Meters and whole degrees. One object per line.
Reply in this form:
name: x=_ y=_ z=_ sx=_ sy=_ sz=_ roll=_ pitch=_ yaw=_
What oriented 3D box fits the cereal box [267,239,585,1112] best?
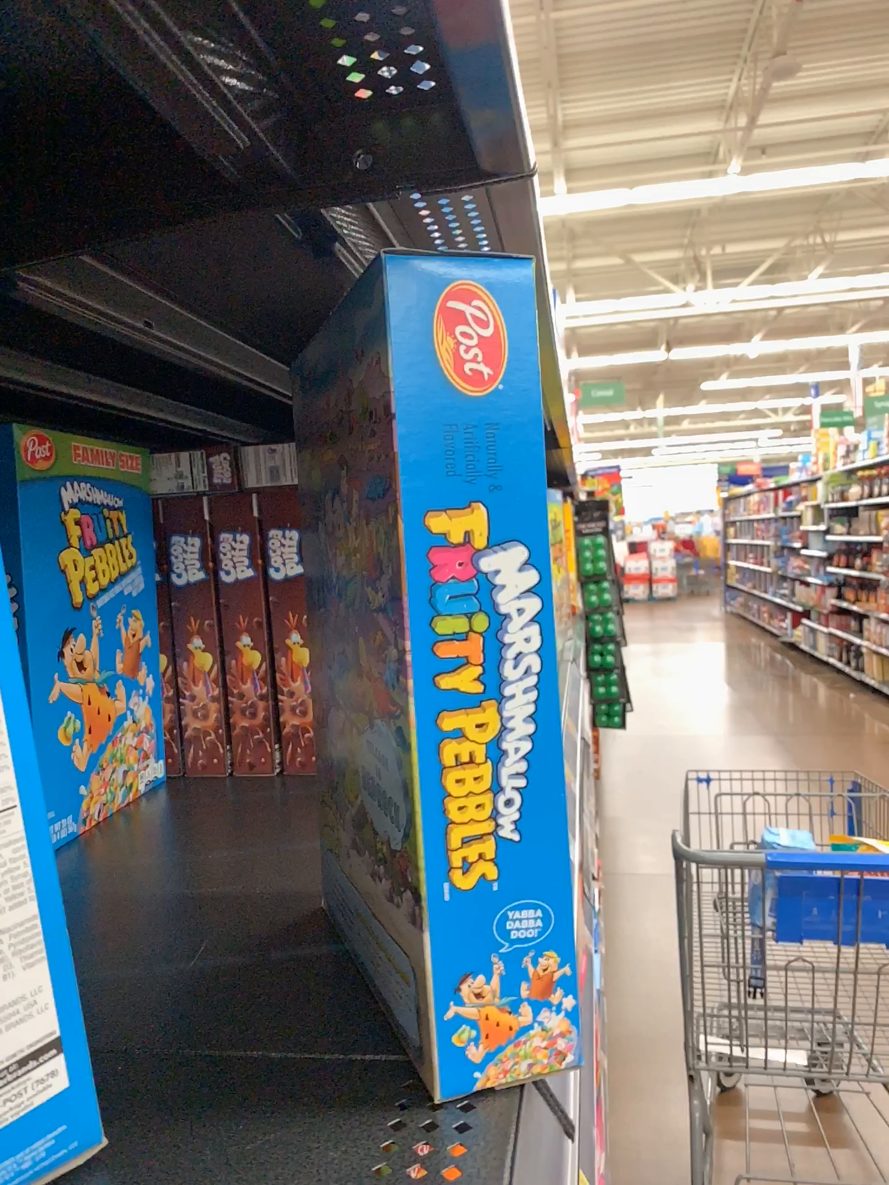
cereal box: x=-0.025 y=0.029 z=0.464 sx=0.070 sy=0.330 sz=0.230 roll=-4 pitch=2 yaw=-20
